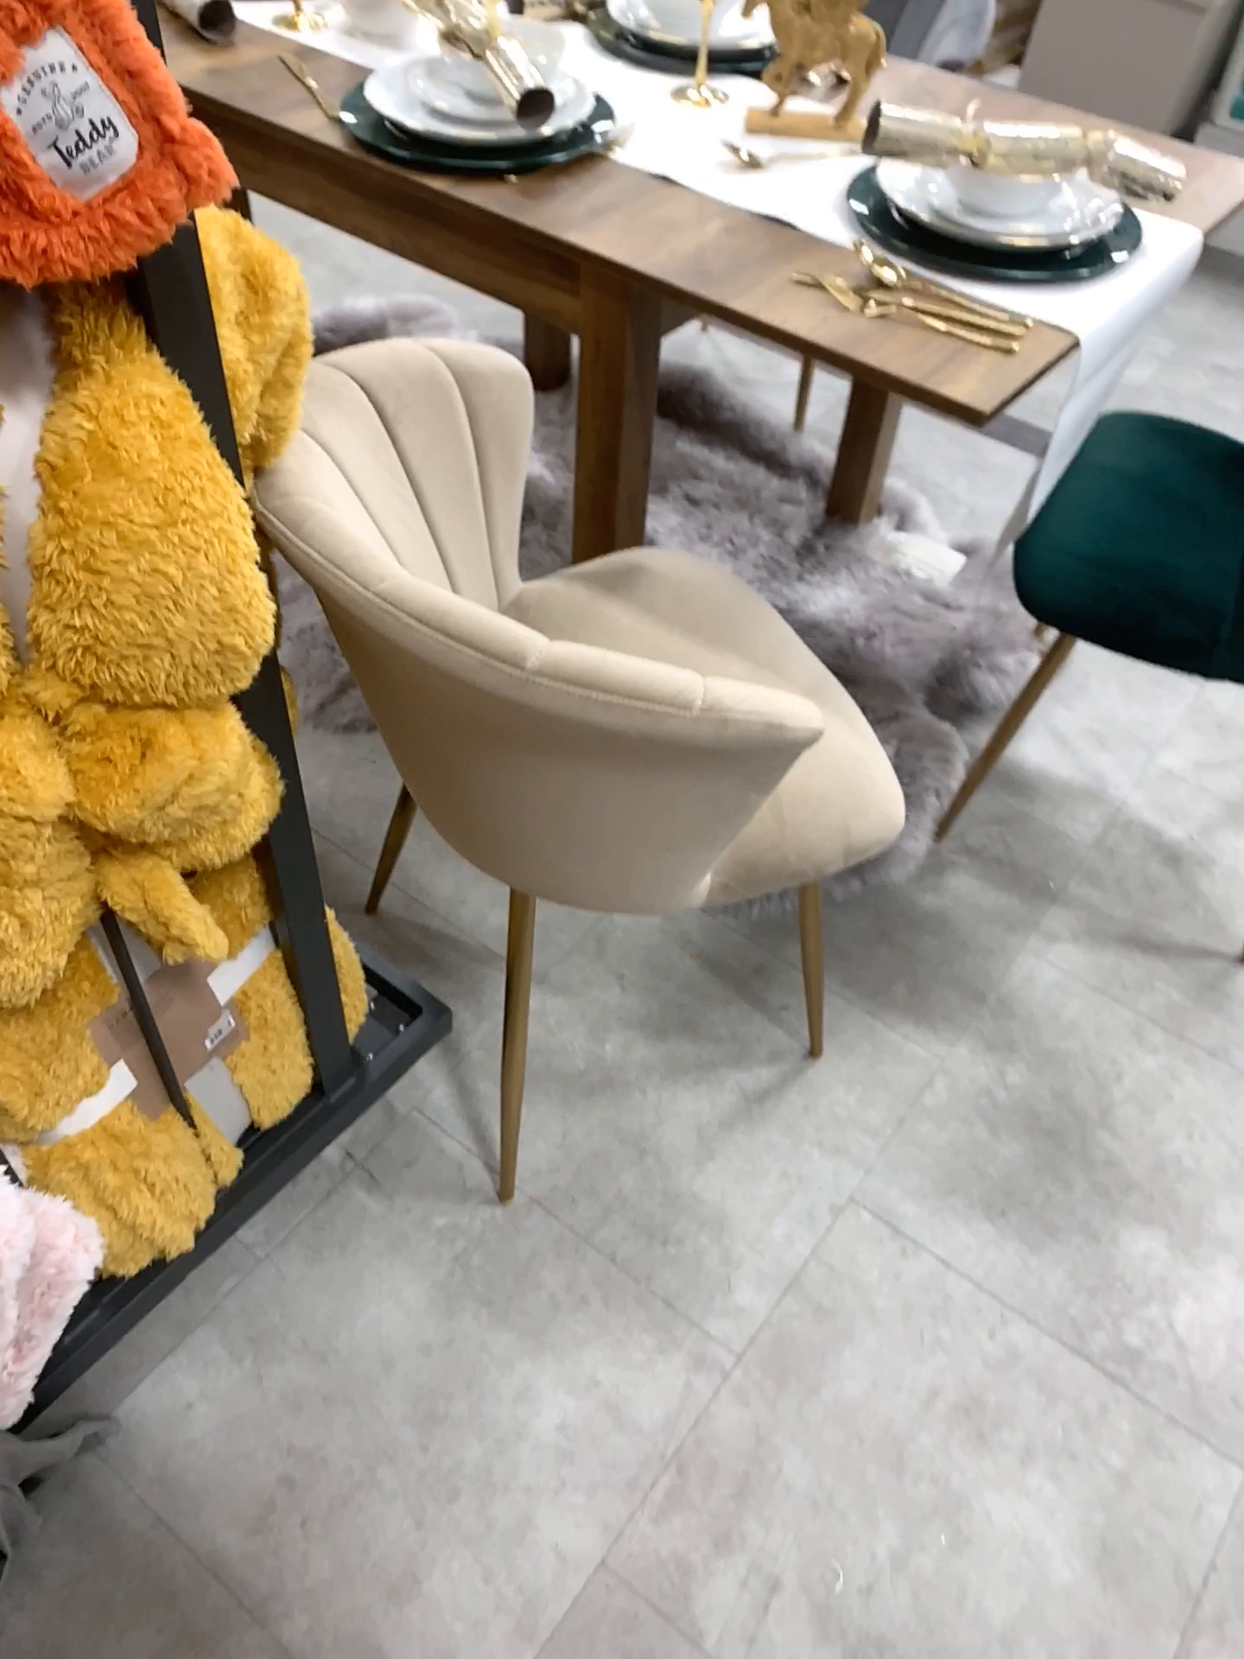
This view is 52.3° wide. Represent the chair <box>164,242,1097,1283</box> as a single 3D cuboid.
[{"bbox_3d":[-0.041,-0.063,1.253,0.536,0.722,0.564,-18,51,-20],"label":"chair"}]
